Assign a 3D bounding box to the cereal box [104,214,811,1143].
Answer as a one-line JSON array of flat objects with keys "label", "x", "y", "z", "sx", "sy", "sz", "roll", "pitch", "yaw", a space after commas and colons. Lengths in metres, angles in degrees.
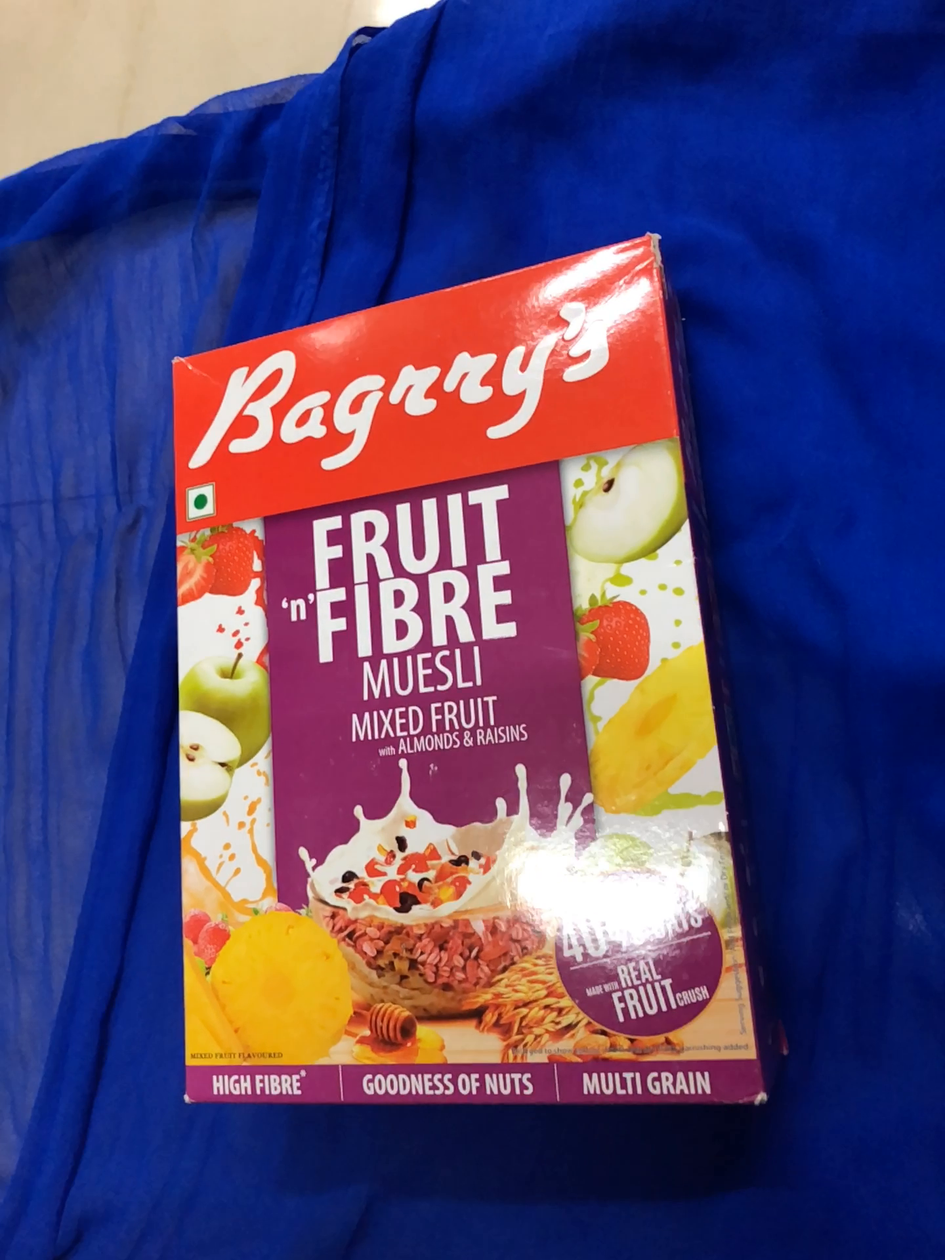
[{"label": "cereal box", "x": -0.011, "y": 0.022, "z": 0.347, "sx": 0.200, "sy": 0.080, "sz": 0.250, "roll": -8, "pitch": 78, "yaw": 18}]
